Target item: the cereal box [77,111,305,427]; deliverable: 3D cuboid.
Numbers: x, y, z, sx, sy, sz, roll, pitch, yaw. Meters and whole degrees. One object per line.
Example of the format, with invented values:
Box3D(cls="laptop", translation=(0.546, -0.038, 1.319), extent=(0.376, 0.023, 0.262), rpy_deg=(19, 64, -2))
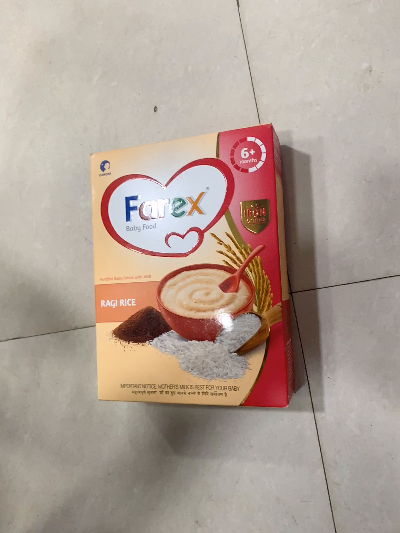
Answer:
Box3D(cls="cereal box", translation=(-0.006, 0.005, 0.302), extent=(0.150, 0.050, 0.200), rpy_deg=(-3, 88, 14))
